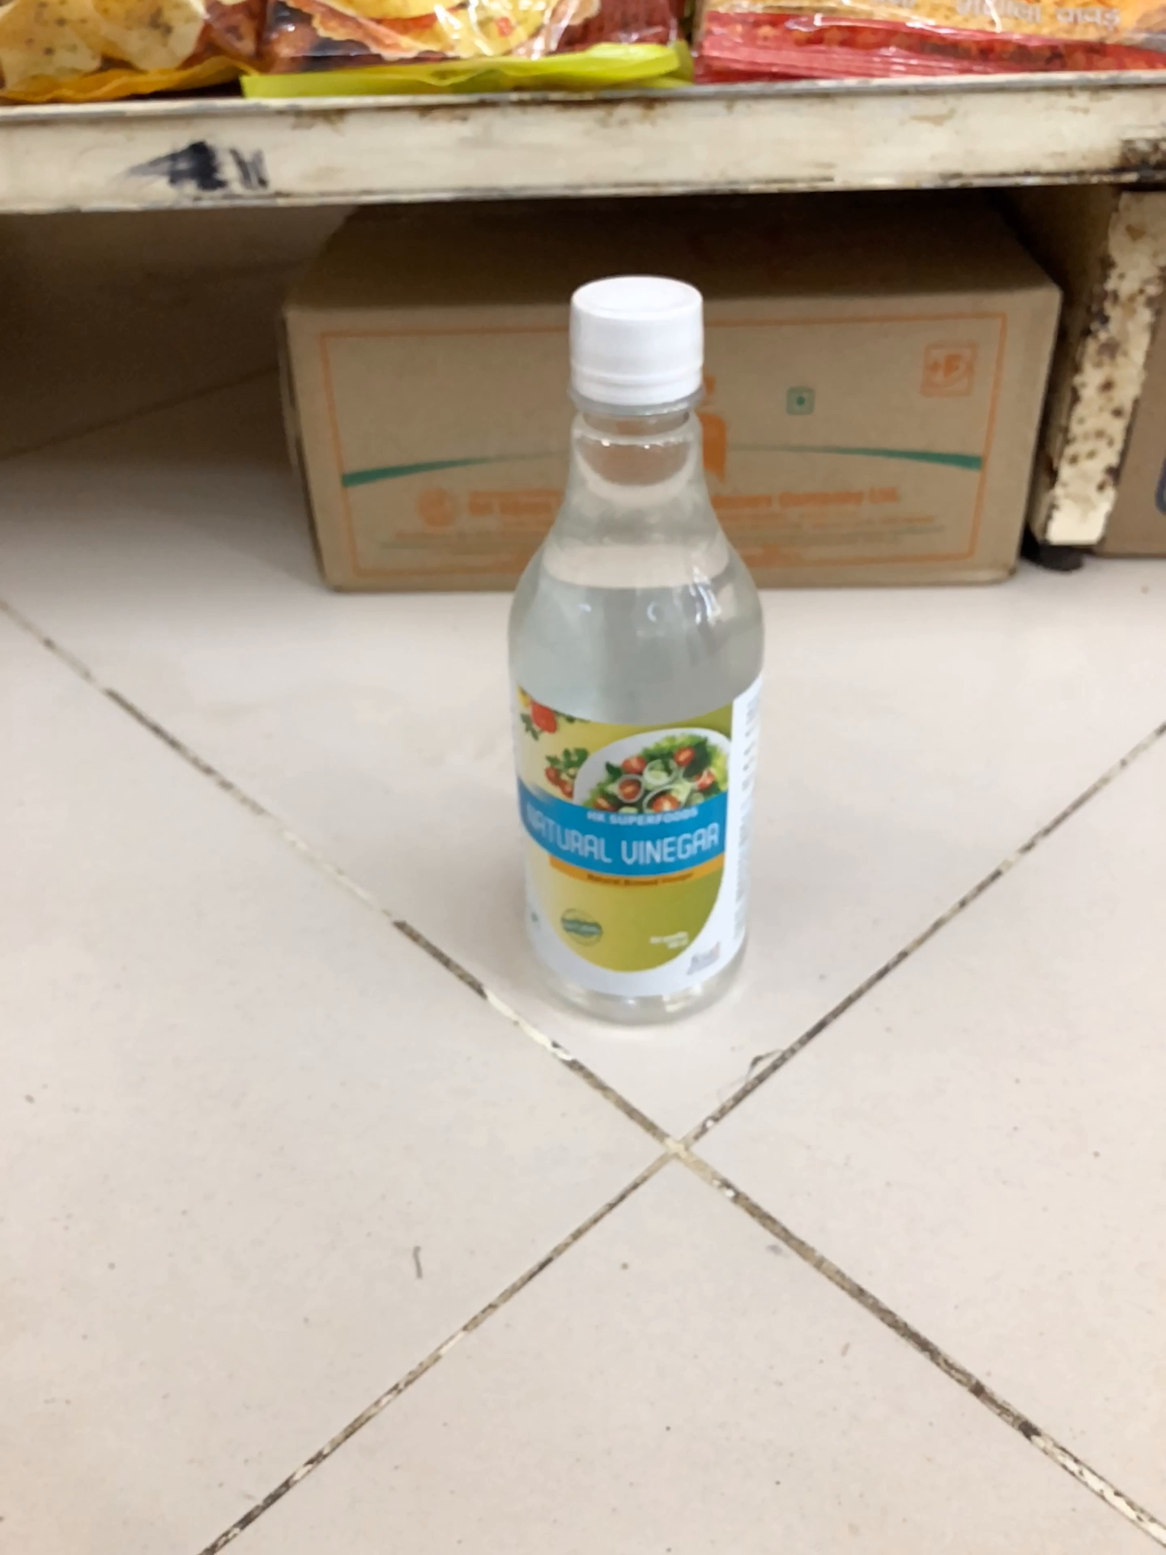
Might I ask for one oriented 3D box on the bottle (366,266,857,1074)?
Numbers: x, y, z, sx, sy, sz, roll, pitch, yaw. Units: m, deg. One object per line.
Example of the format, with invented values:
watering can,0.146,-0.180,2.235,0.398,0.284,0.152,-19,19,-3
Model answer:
bottle,0.013,-0.028,0.375,0.090,0.199,0.091,-2,37,1
